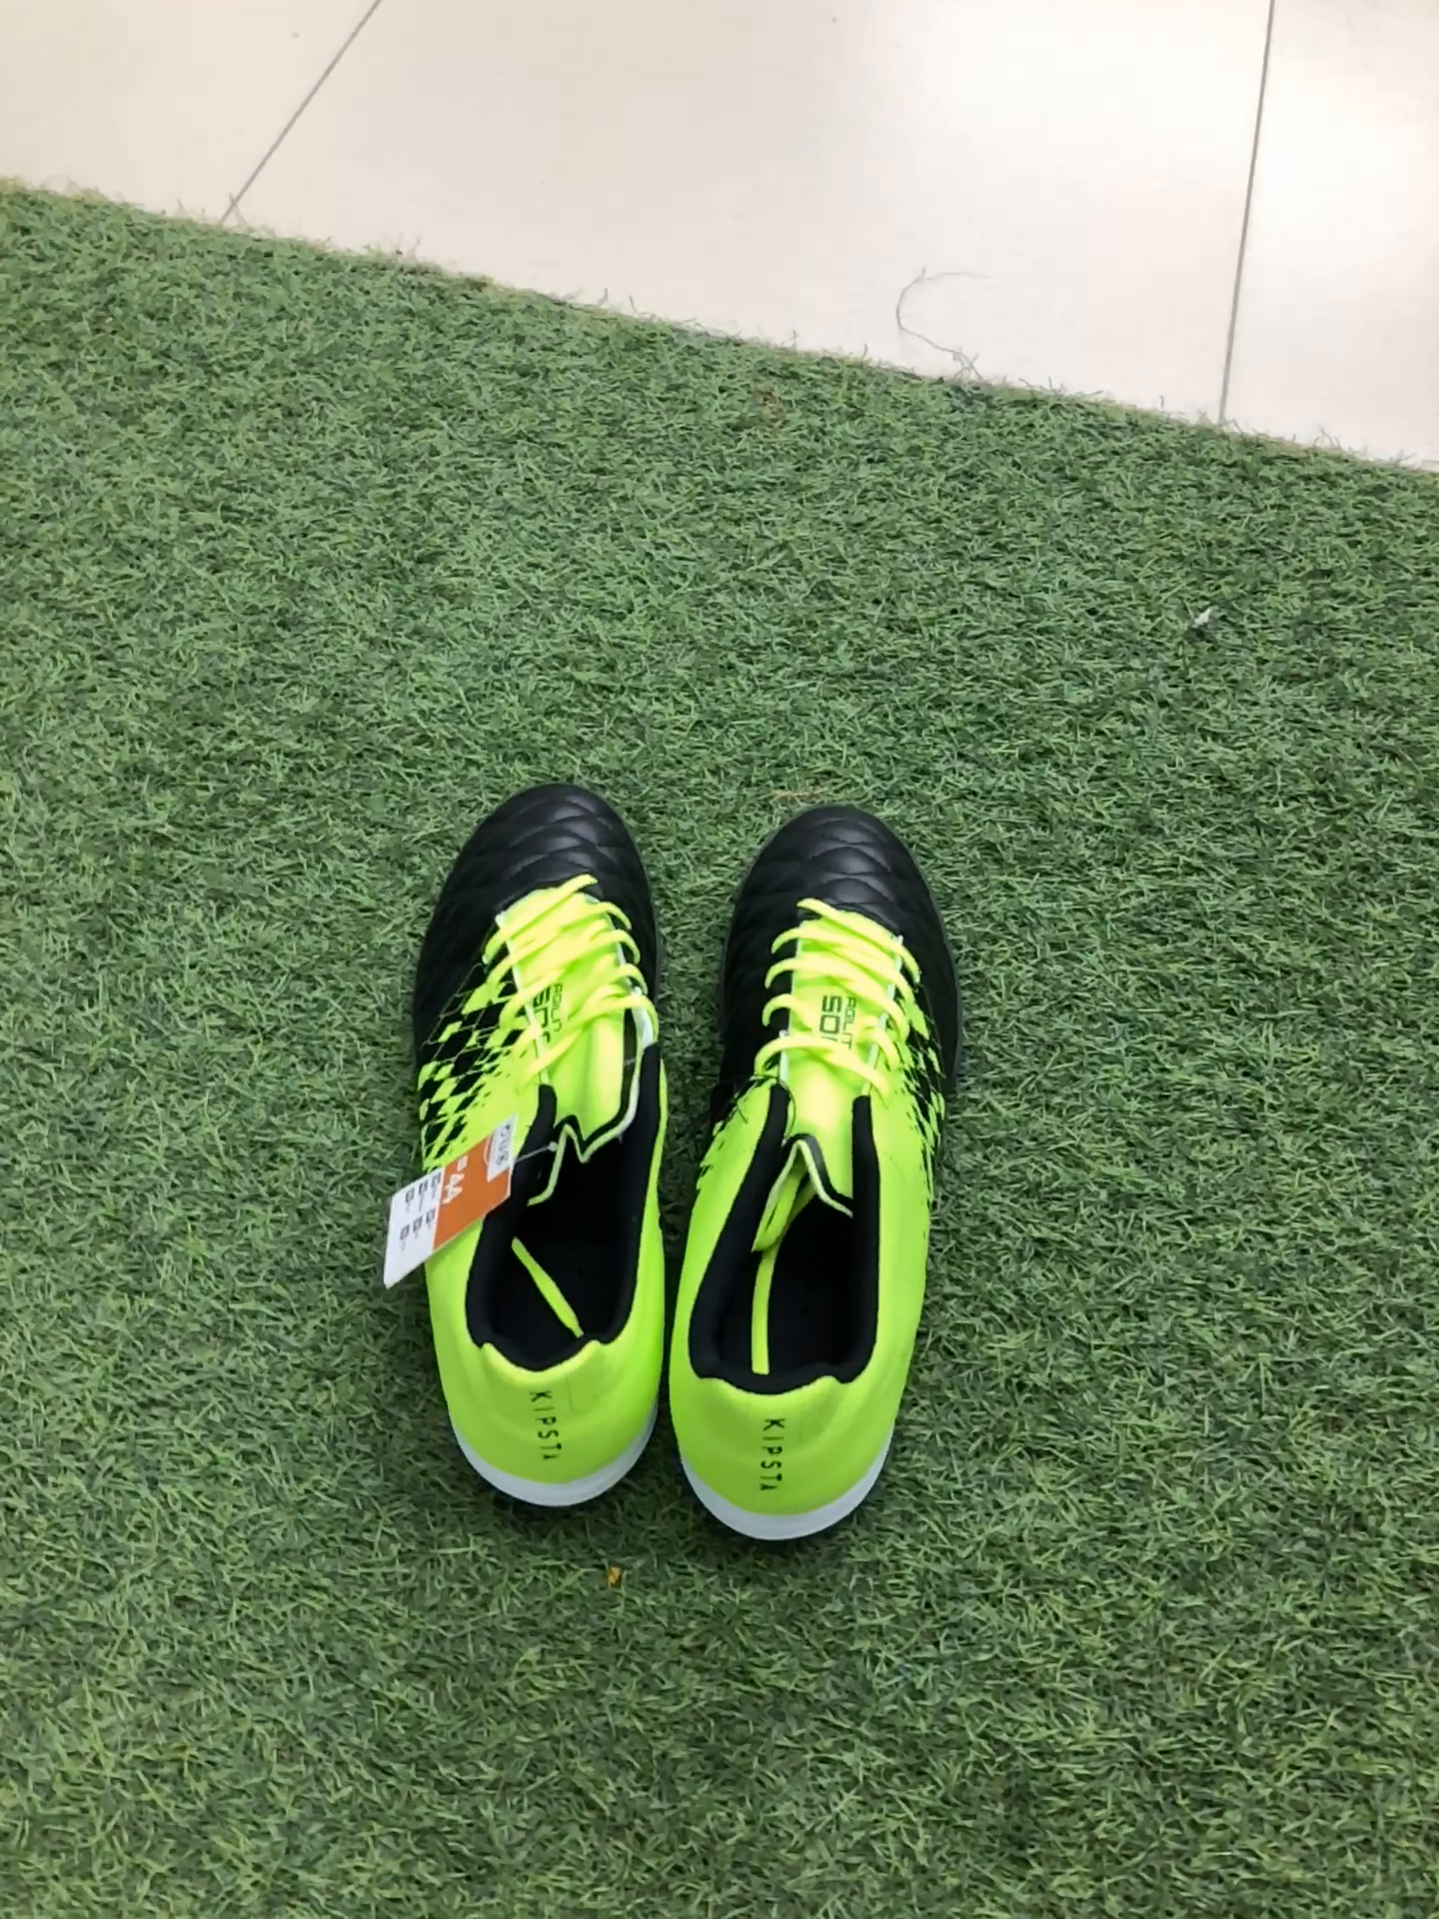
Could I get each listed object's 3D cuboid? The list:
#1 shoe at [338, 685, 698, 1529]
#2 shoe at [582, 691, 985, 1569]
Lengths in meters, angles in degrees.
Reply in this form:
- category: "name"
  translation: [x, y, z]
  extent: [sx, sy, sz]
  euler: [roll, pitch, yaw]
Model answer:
- category: "shoe"
  translation: [-0.064, 0.041, 0.554]
  extent: [0.100, 0.090, 0.281]
  euler: [-2, 57, -2]
- category: "shoe"
  translation: [0.029, 0.048, 0.546]
  extent: [0.100, 0.090, 0.281]
  euler: [7, 58, 3]
